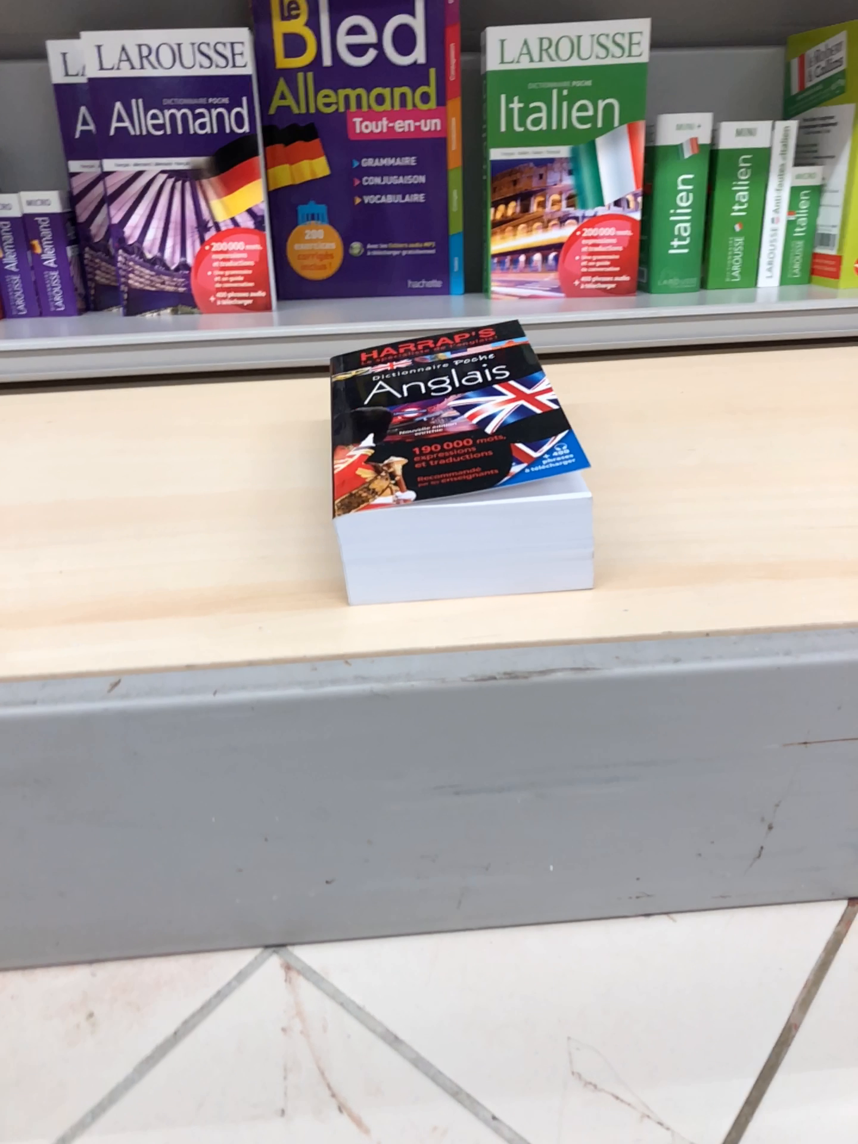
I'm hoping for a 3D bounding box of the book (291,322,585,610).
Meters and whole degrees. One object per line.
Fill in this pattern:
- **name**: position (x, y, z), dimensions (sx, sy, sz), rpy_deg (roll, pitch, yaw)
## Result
- **book**: position (-0.004, -0.062, 0.457), dimensions (0.115, 0.057, 0.182), rpy_deg (-4, 33, -4)
